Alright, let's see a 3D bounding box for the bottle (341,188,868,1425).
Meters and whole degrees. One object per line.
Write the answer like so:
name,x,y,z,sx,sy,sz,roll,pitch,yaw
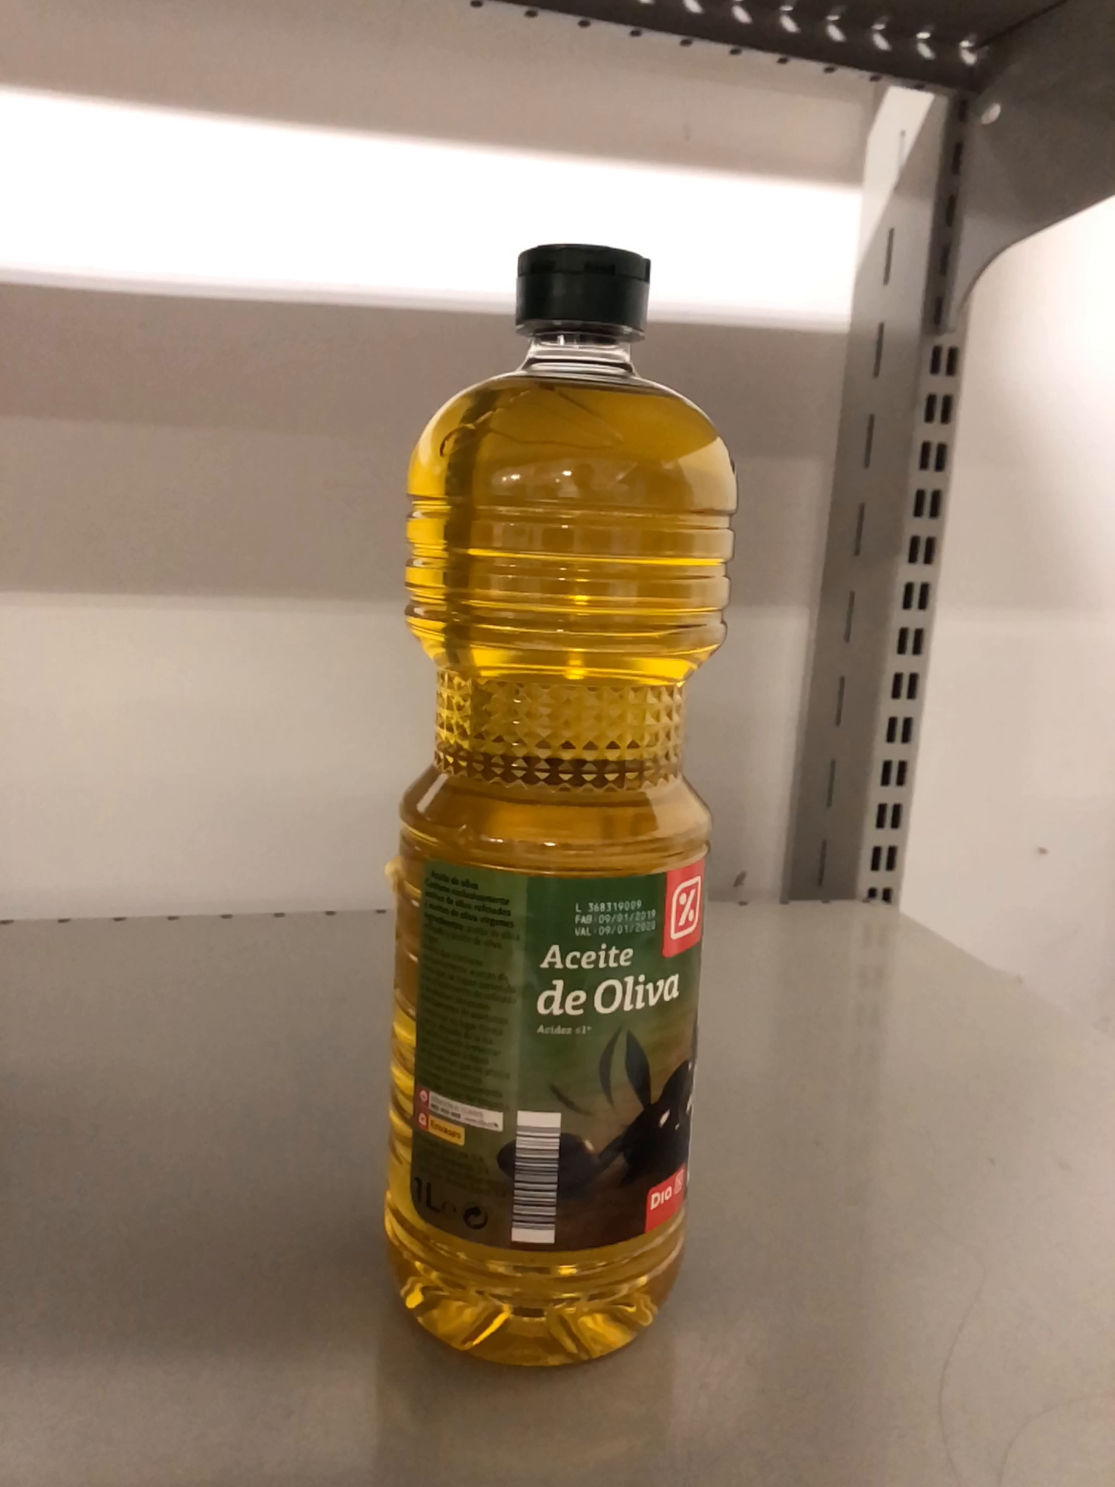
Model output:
bottle,0.005,0.016,0.287,0.080,0.249,0.060,-1,13,-30
